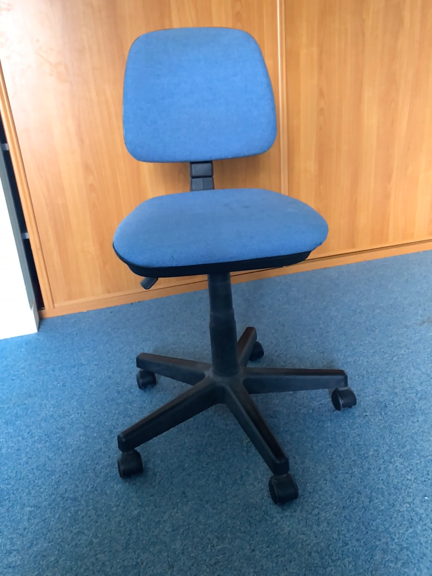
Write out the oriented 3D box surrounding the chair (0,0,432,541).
[{"bbox_3d":[0.011,-0.132,1.098,0.650,0.916,0.763,-7,21,-6],"label":"chair"}]
